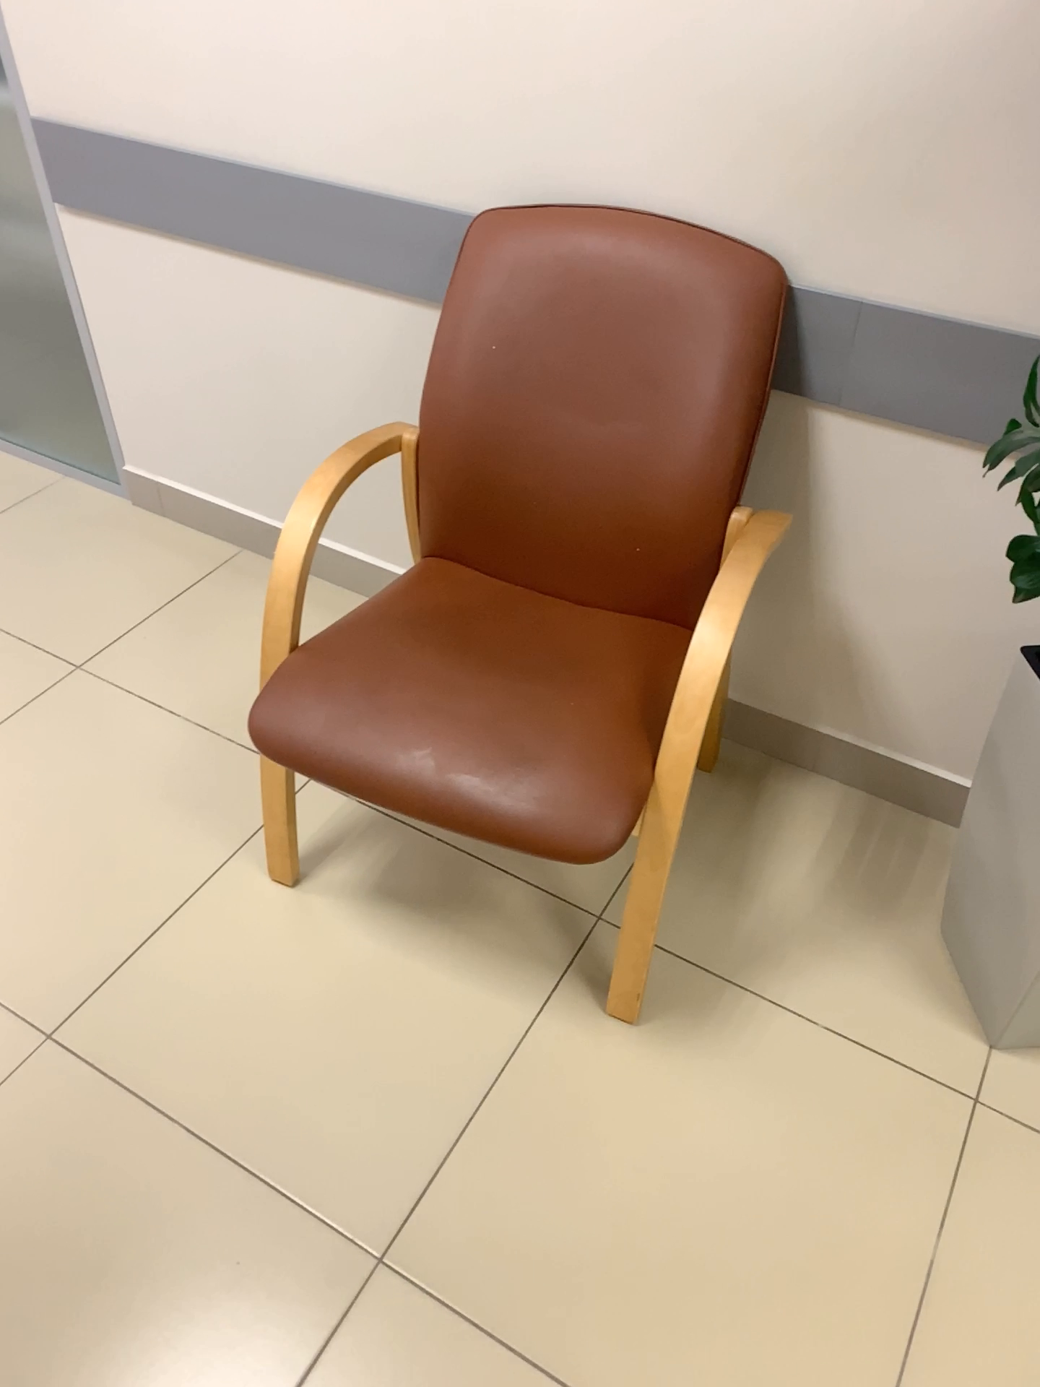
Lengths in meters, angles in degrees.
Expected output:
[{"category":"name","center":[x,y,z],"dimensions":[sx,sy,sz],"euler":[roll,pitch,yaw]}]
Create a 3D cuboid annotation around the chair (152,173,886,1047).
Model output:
[{"category":"chair","center":[0.027,-0.116,1.572],"dimensions":[0.671,0.985,0.603],"euler":[18,45,18]}]
